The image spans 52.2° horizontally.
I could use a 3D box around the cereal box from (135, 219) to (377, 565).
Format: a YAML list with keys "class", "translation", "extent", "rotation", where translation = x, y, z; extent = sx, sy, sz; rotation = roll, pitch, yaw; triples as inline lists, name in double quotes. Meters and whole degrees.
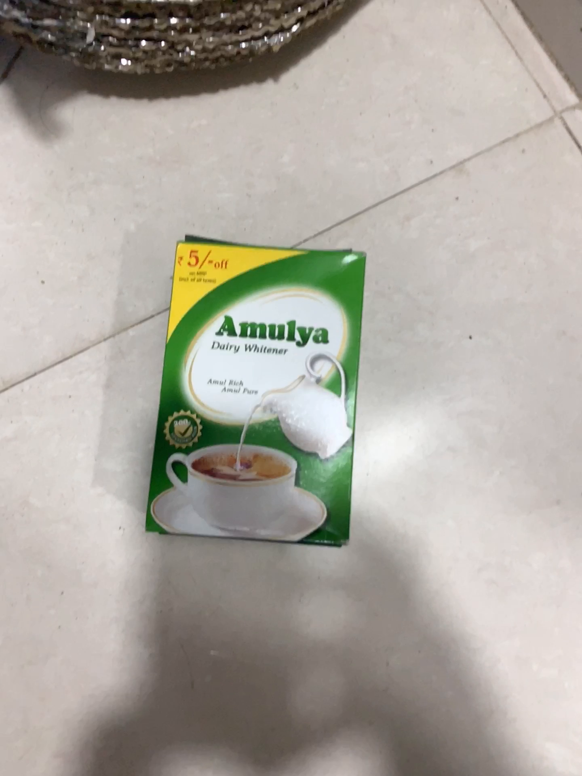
- class: "cereal box"
  translation: [-0.013, 0.003, 0.277]
  extent: [0.090, 0.060, 0.140]
  rotation: [4, 81, 0]
